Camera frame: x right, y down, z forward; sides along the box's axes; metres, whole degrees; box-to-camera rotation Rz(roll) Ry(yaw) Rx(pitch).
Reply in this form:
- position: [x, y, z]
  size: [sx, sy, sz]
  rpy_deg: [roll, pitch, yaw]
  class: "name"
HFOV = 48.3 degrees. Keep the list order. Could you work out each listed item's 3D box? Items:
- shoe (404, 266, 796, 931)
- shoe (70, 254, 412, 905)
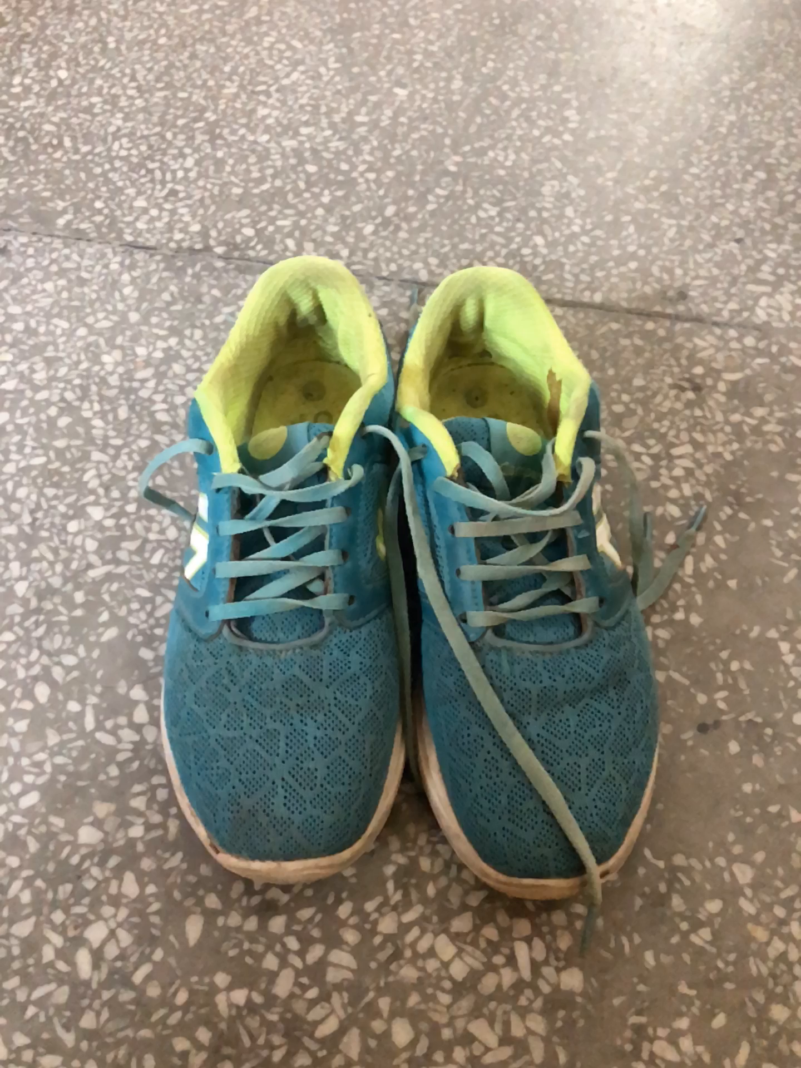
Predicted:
- position: [0.052, 0.014, 0.331]
  size: [0.094, 0.088, 0.229]
  rpy_deg: [-1, 57, -1]
  class: "shoe"
- position: [-0.042, 0.009, 0.338]
  size: [0.091, 0.091, 0.231]
  rpy_deg: [0, 57, 0]
  class: "shoe"
